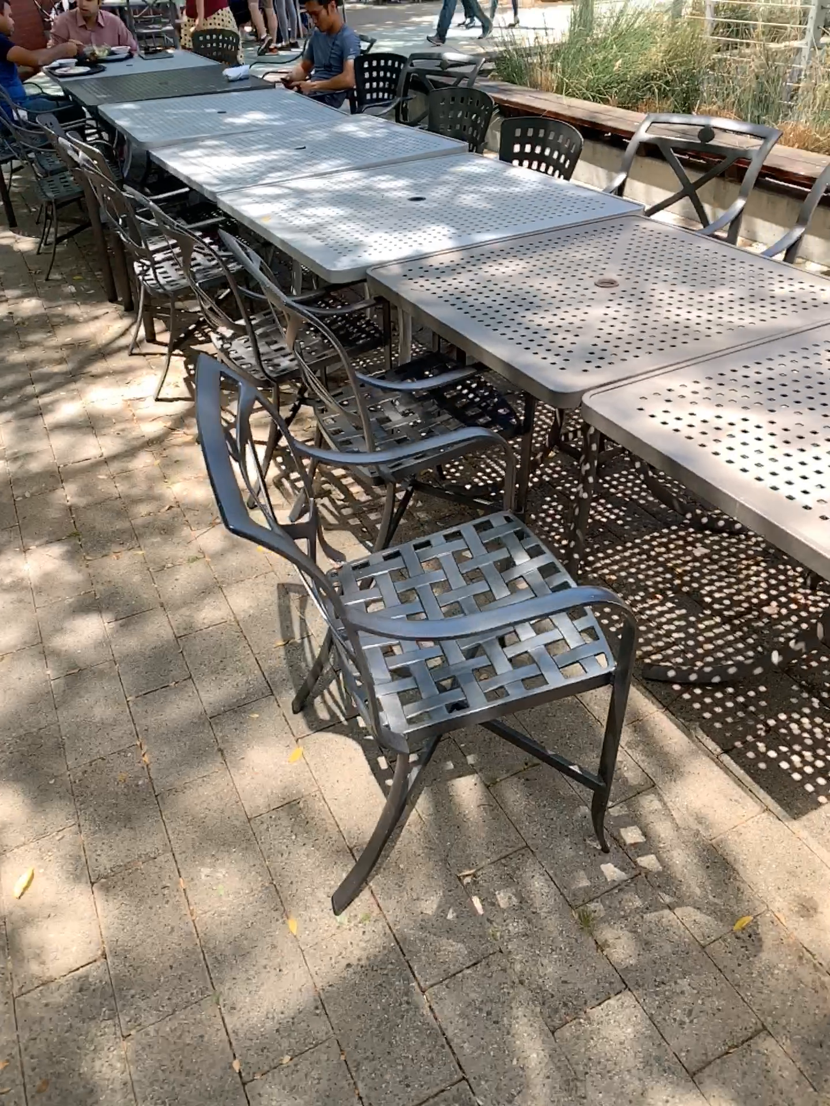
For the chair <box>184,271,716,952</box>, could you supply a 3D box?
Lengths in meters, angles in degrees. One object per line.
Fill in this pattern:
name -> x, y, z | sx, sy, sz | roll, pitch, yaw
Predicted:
chair -> 0.012, 0.089, 1.485 | 0.610, 0.885, 0.634 | -11, 37, -10
